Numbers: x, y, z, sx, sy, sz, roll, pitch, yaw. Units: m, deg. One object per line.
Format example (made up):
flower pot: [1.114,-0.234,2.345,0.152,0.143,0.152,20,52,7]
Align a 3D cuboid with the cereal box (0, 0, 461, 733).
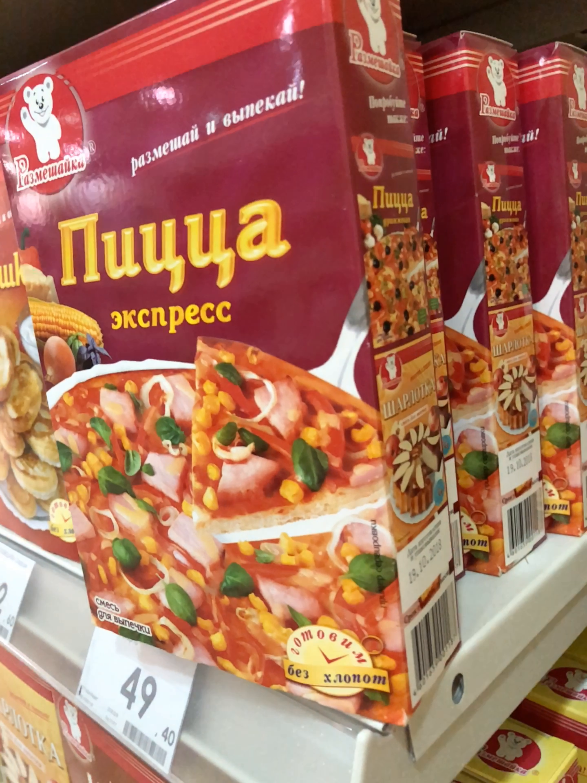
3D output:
cereal box: [-0.030,-0.014,0.201,0.140,0.189,0.040,0,11,35]
